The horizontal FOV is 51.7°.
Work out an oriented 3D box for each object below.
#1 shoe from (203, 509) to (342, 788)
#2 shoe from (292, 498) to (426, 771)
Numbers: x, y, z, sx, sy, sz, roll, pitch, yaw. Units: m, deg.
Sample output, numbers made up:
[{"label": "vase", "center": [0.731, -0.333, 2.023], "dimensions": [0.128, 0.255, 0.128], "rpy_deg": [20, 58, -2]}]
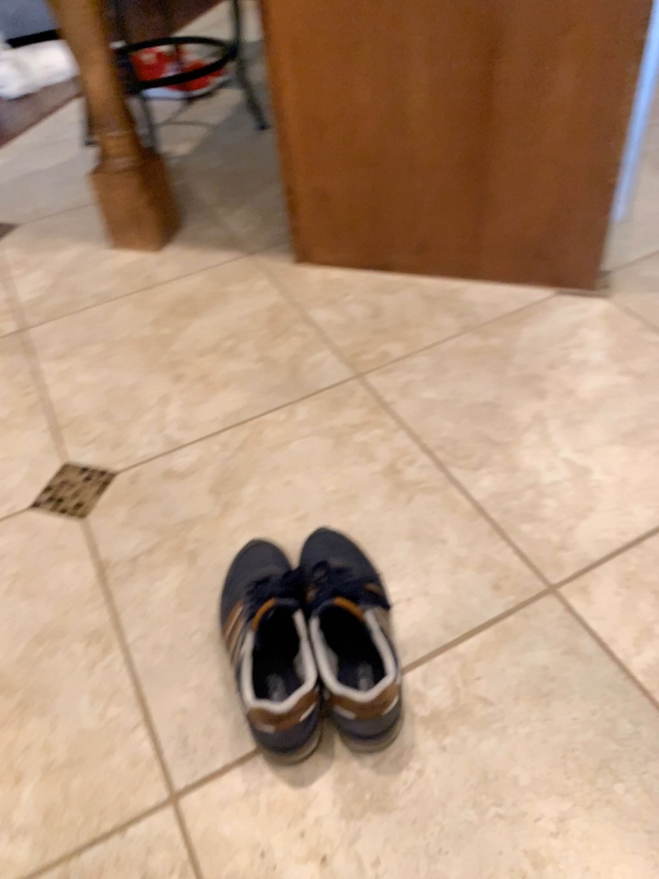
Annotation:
[{"label": "shoe", "center": [-0.073, 0.232, 0.802], "dimensions": [0.112, 0.102, 0.283], "rpy_deg": [-12, 44, -5]}, {"label": "shoe", "center": [0.028, 0.217, 0.803], "dimensions": [0.106, 0.102, 0.283], "rpy_deg": [-9, 44, -2]}]
